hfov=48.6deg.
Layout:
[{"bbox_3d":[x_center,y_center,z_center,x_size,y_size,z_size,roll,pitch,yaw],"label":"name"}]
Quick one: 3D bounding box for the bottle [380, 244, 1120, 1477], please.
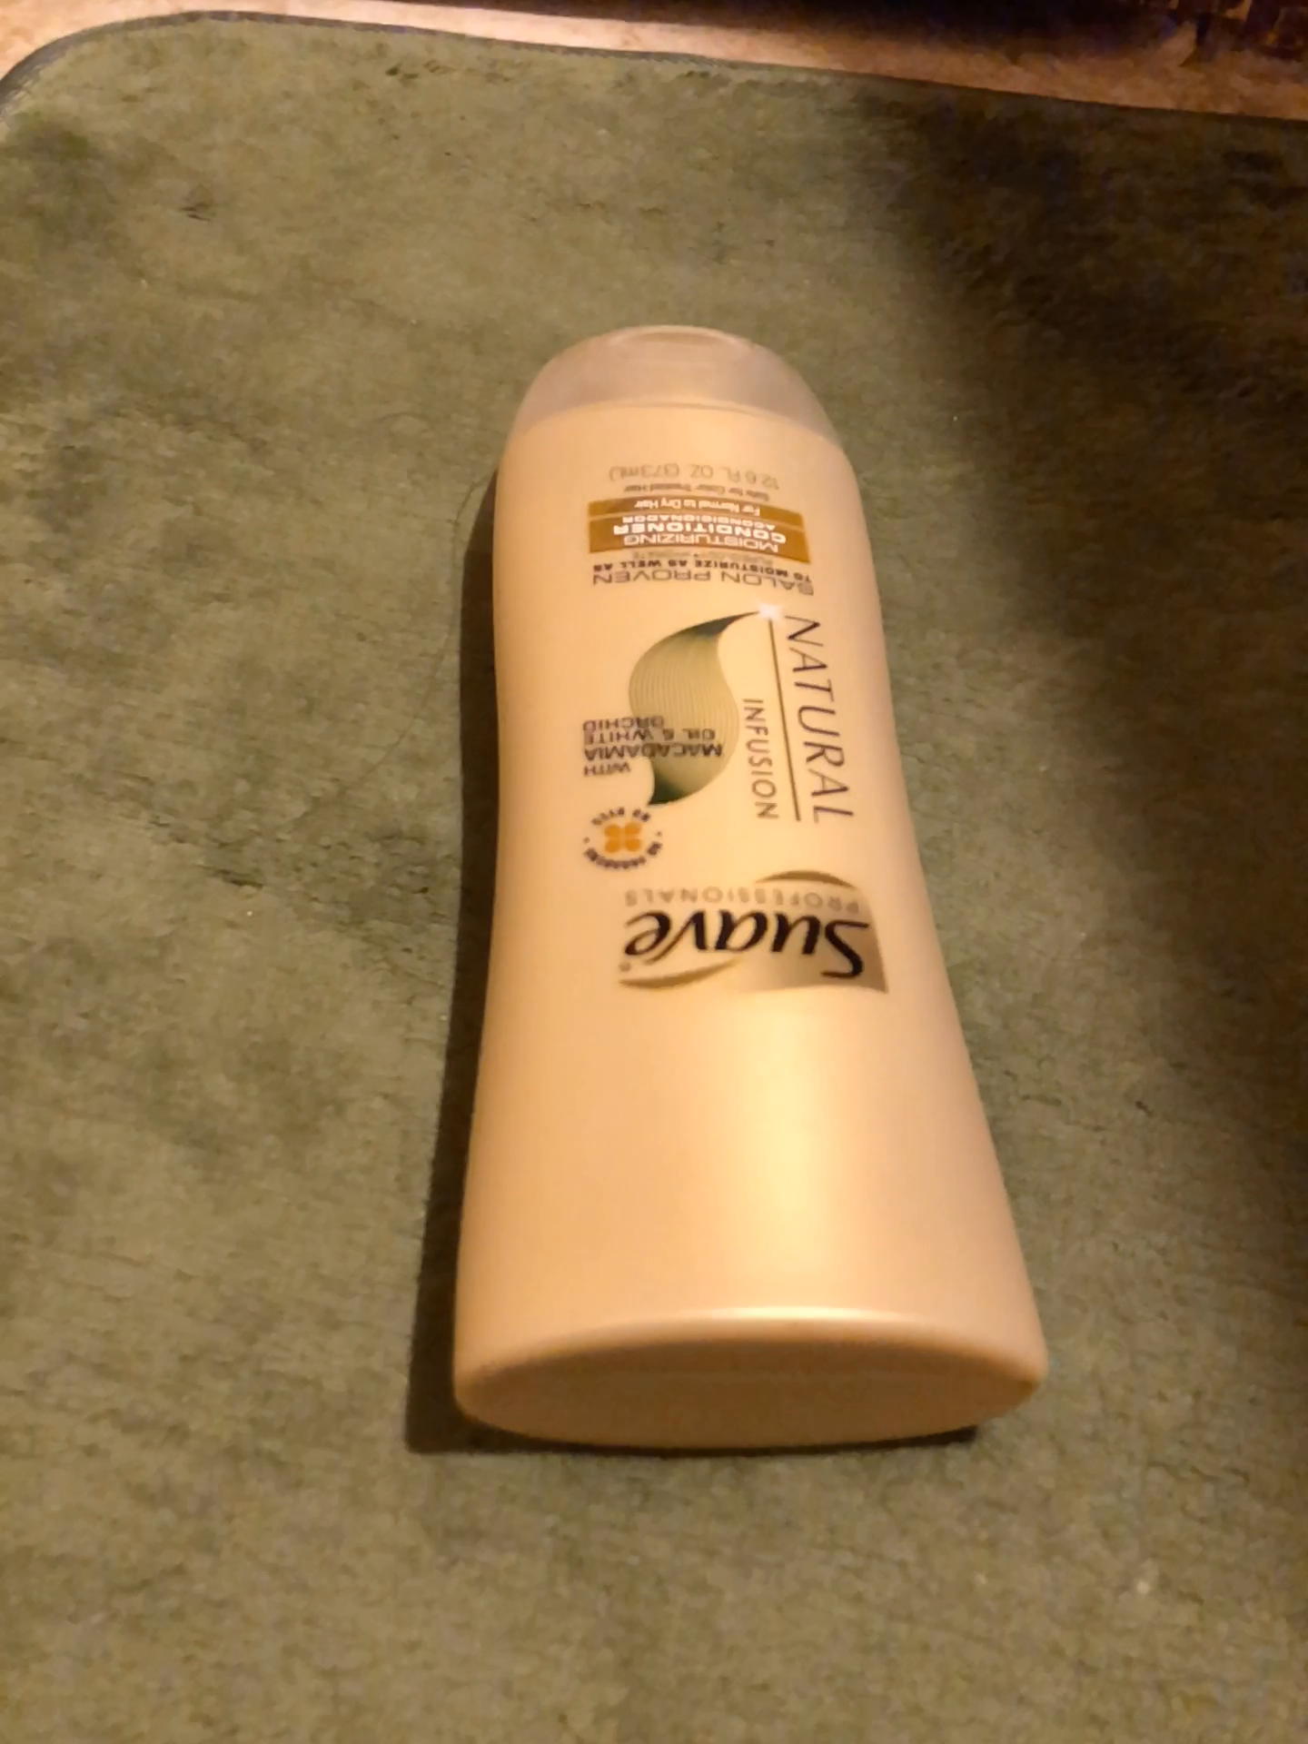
[{"bbox_3d":[0.005,-0.022,0.242,0.080,0.050,0.220,2,52,-5],"label":"bottle"}]
